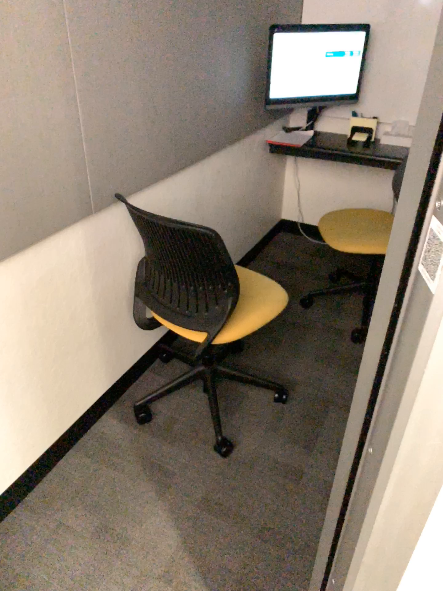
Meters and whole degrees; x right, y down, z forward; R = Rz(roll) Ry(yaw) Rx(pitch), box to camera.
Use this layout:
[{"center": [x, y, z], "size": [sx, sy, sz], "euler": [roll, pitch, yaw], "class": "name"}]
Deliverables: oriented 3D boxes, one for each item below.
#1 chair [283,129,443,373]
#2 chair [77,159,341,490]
[{"center": [0.988, -0.301, 2.623], "size": [0.950, 1.034, 0.926], "euler": [-4, 33, -8], "class": "chair"}, {"center": [-0.043, 0.061, 1.593], "size": [0.552, 0.845, 0.571], "euler": [28, 41, 36], "class": "chair"}]
